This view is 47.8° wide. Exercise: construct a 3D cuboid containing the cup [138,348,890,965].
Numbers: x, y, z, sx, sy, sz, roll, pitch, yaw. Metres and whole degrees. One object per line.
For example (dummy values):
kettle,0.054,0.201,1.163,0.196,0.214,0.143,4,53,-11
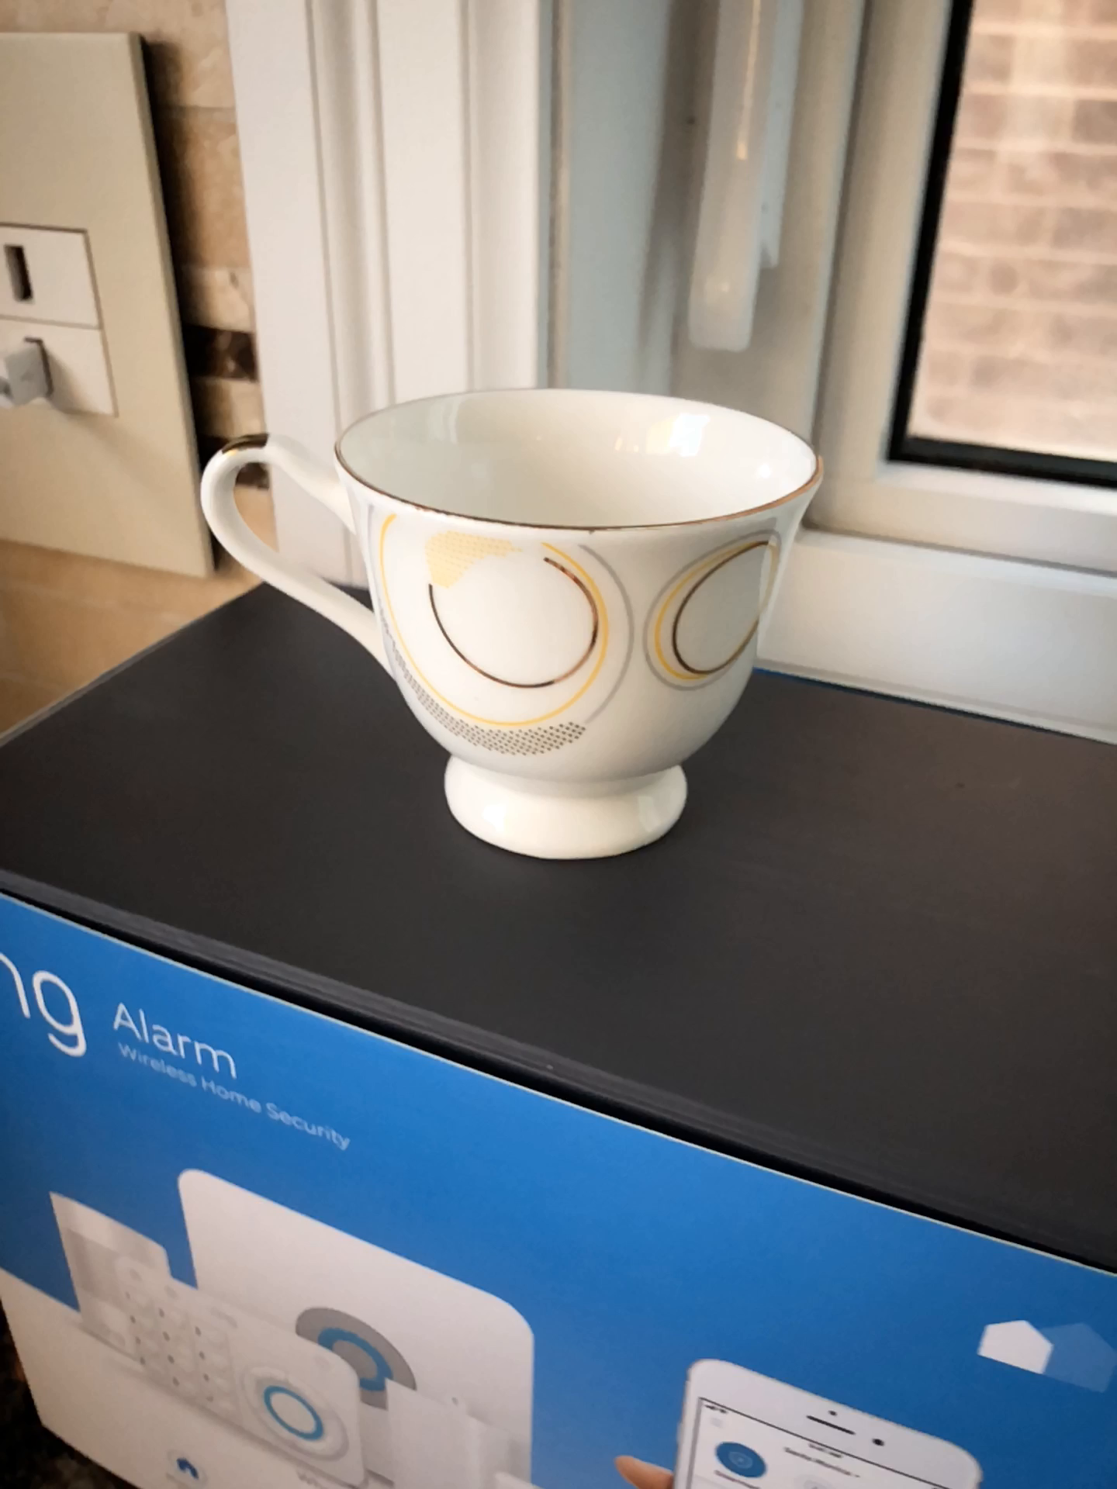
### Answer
cup,-0.002,-0.022,0.220,0.100,0.066,0.077,11,32,17
